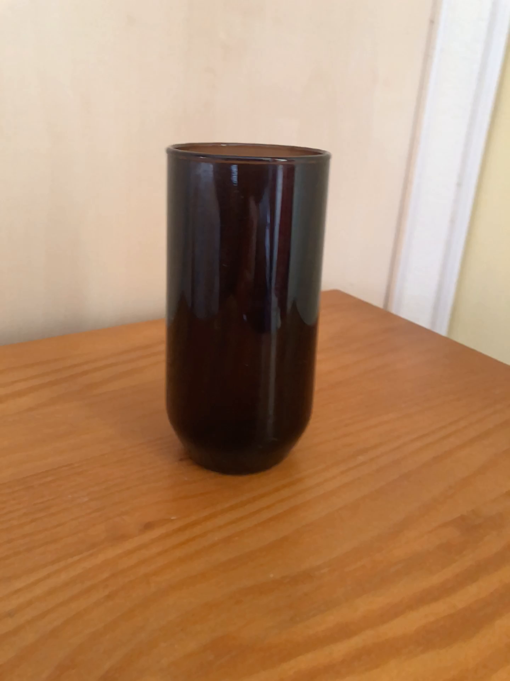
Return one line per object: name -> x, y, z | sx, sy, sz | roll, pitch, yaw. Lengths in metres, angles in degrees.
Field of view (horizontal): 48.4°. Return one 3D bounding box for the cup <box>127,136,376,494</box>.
cup -> -0.003, -0.016, 0.216 | 0.061, 0.112, 0.061 | 3, 22, -1
